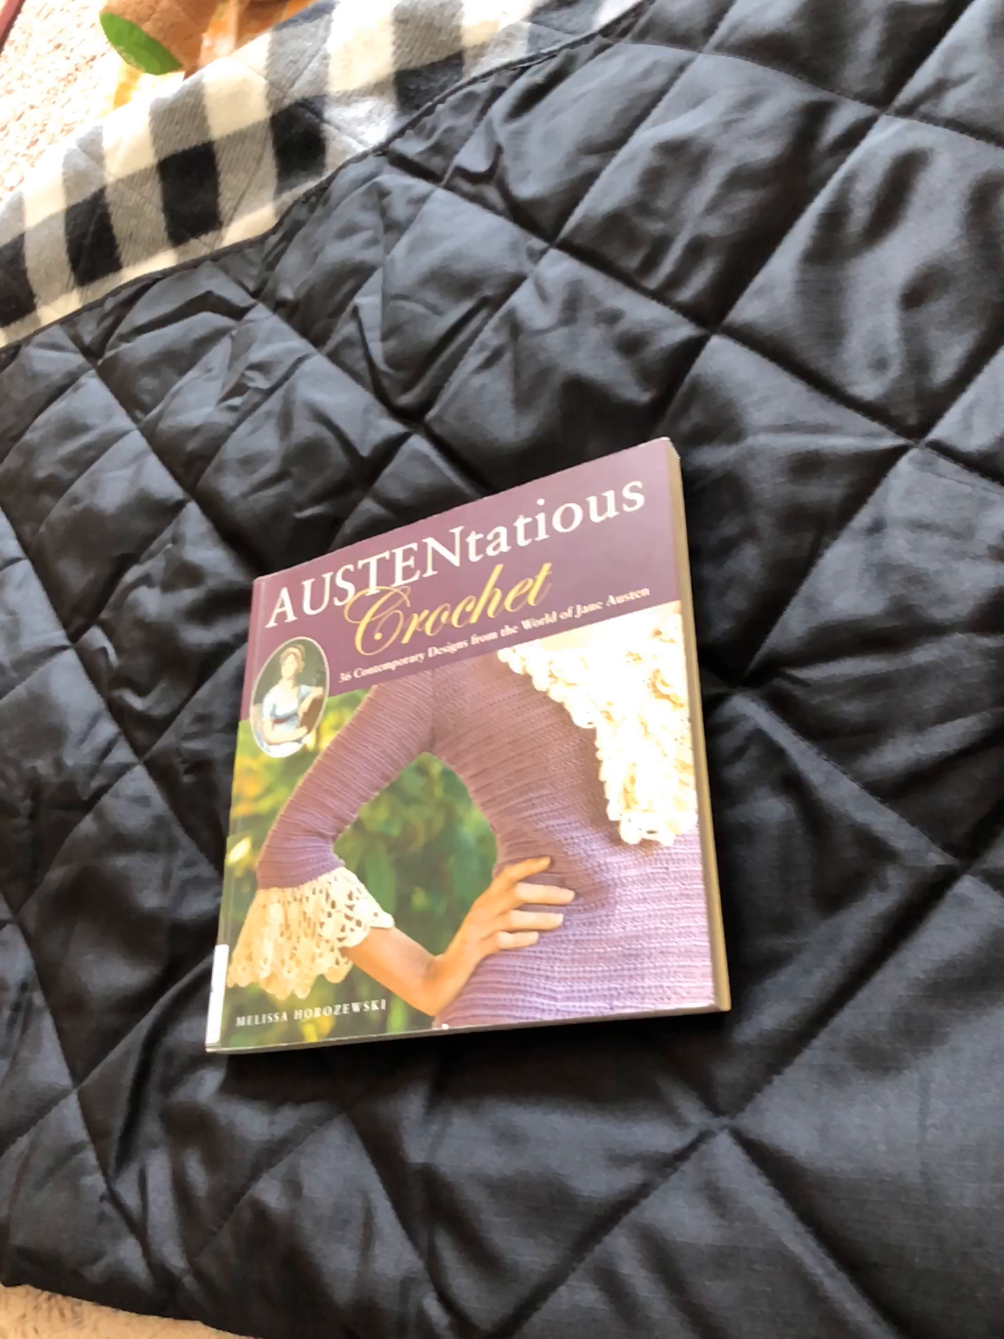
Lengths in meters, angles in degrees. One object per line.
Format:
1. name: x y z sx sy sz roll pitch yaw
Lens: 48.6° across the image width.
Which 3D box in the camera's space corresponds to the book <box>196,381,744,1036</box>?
1. book: -0.021 0.018 0.447 0.221 0.020 0.230 -15 59 29
